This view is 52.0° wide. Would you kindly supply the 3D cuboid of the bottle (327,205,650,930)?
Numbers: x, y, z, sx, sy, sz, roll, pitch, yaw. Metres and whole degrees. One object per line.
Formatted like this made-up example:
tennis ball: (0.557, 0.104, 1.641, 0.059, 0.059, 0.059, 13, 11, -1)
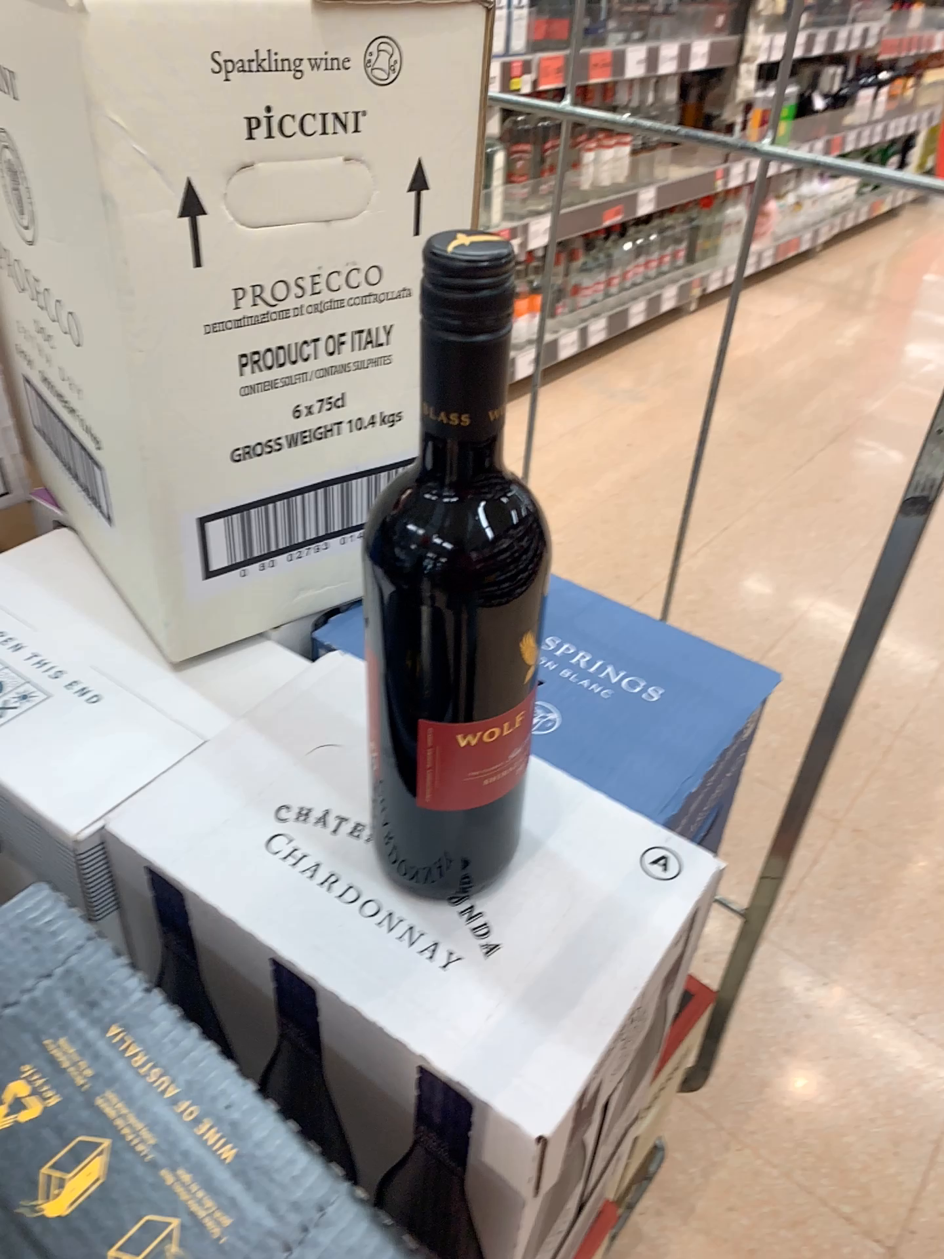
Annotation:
bottle: (0.000, -0.011, 0.384, 0.075, 0.270, 0.081, 3, 36, -2)
